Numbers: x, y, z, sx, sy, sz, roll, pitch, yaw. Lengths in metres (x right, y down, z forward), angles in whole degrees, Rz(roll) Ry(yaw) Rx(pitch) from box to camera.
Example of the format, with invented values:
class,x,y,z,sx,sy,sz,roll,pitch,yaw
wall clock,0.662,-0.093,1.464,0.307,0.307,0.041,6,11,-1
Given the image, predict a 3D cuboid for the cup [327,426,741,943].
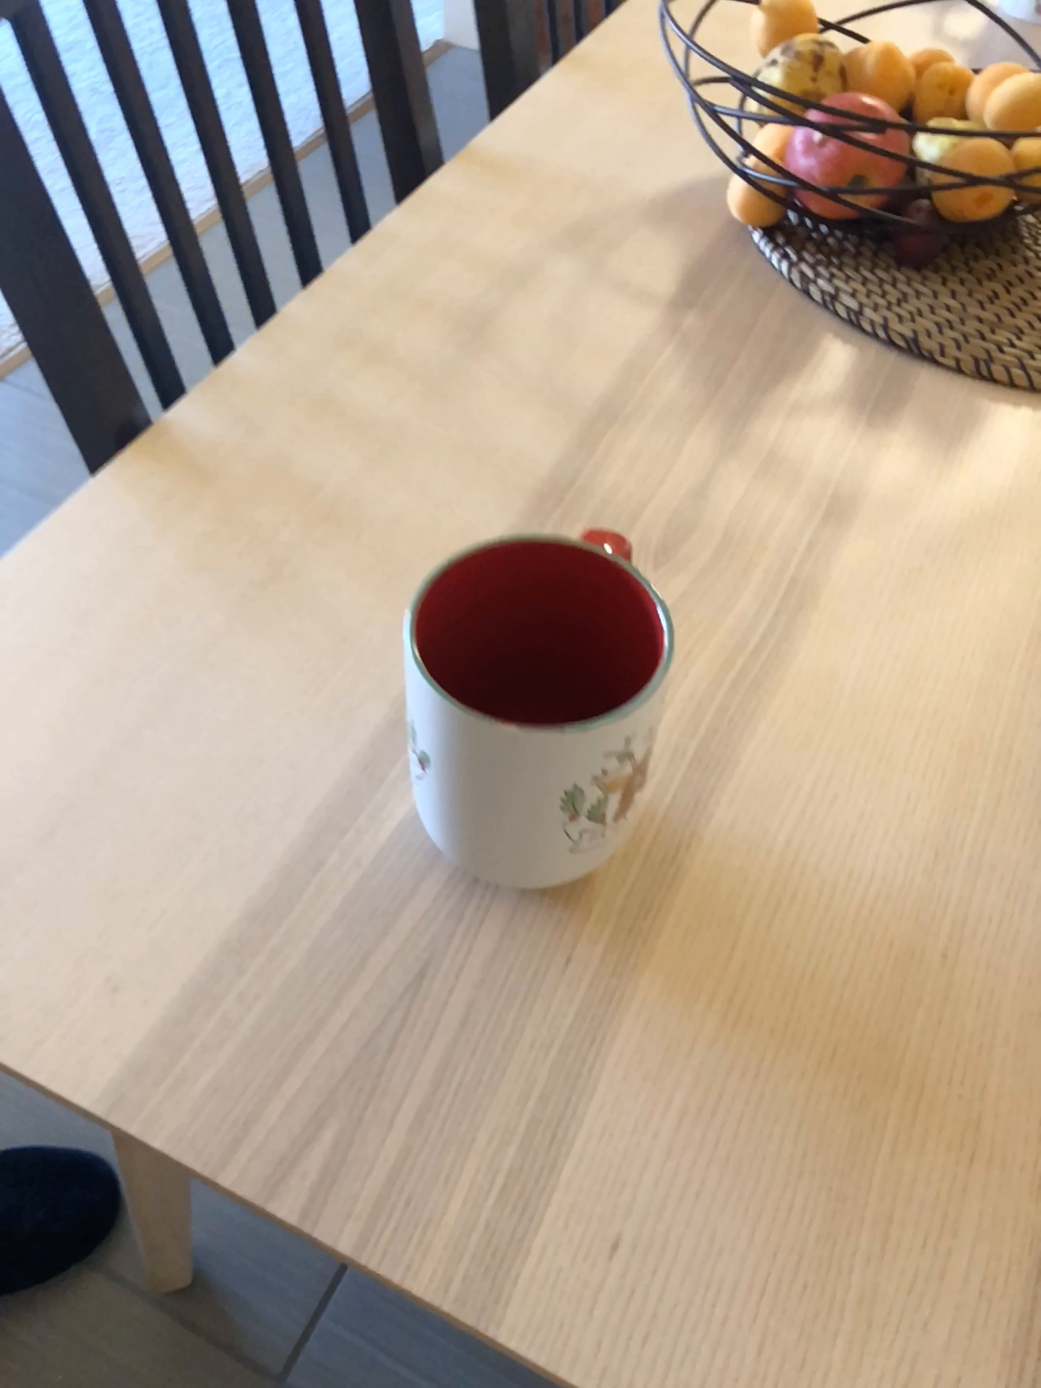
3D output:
class,x,y,z,sx,sy,sz,roll,pitch,yaw
cup,0.008,-0.006,0.429,0.100,0.100,0.140,17,52,10
